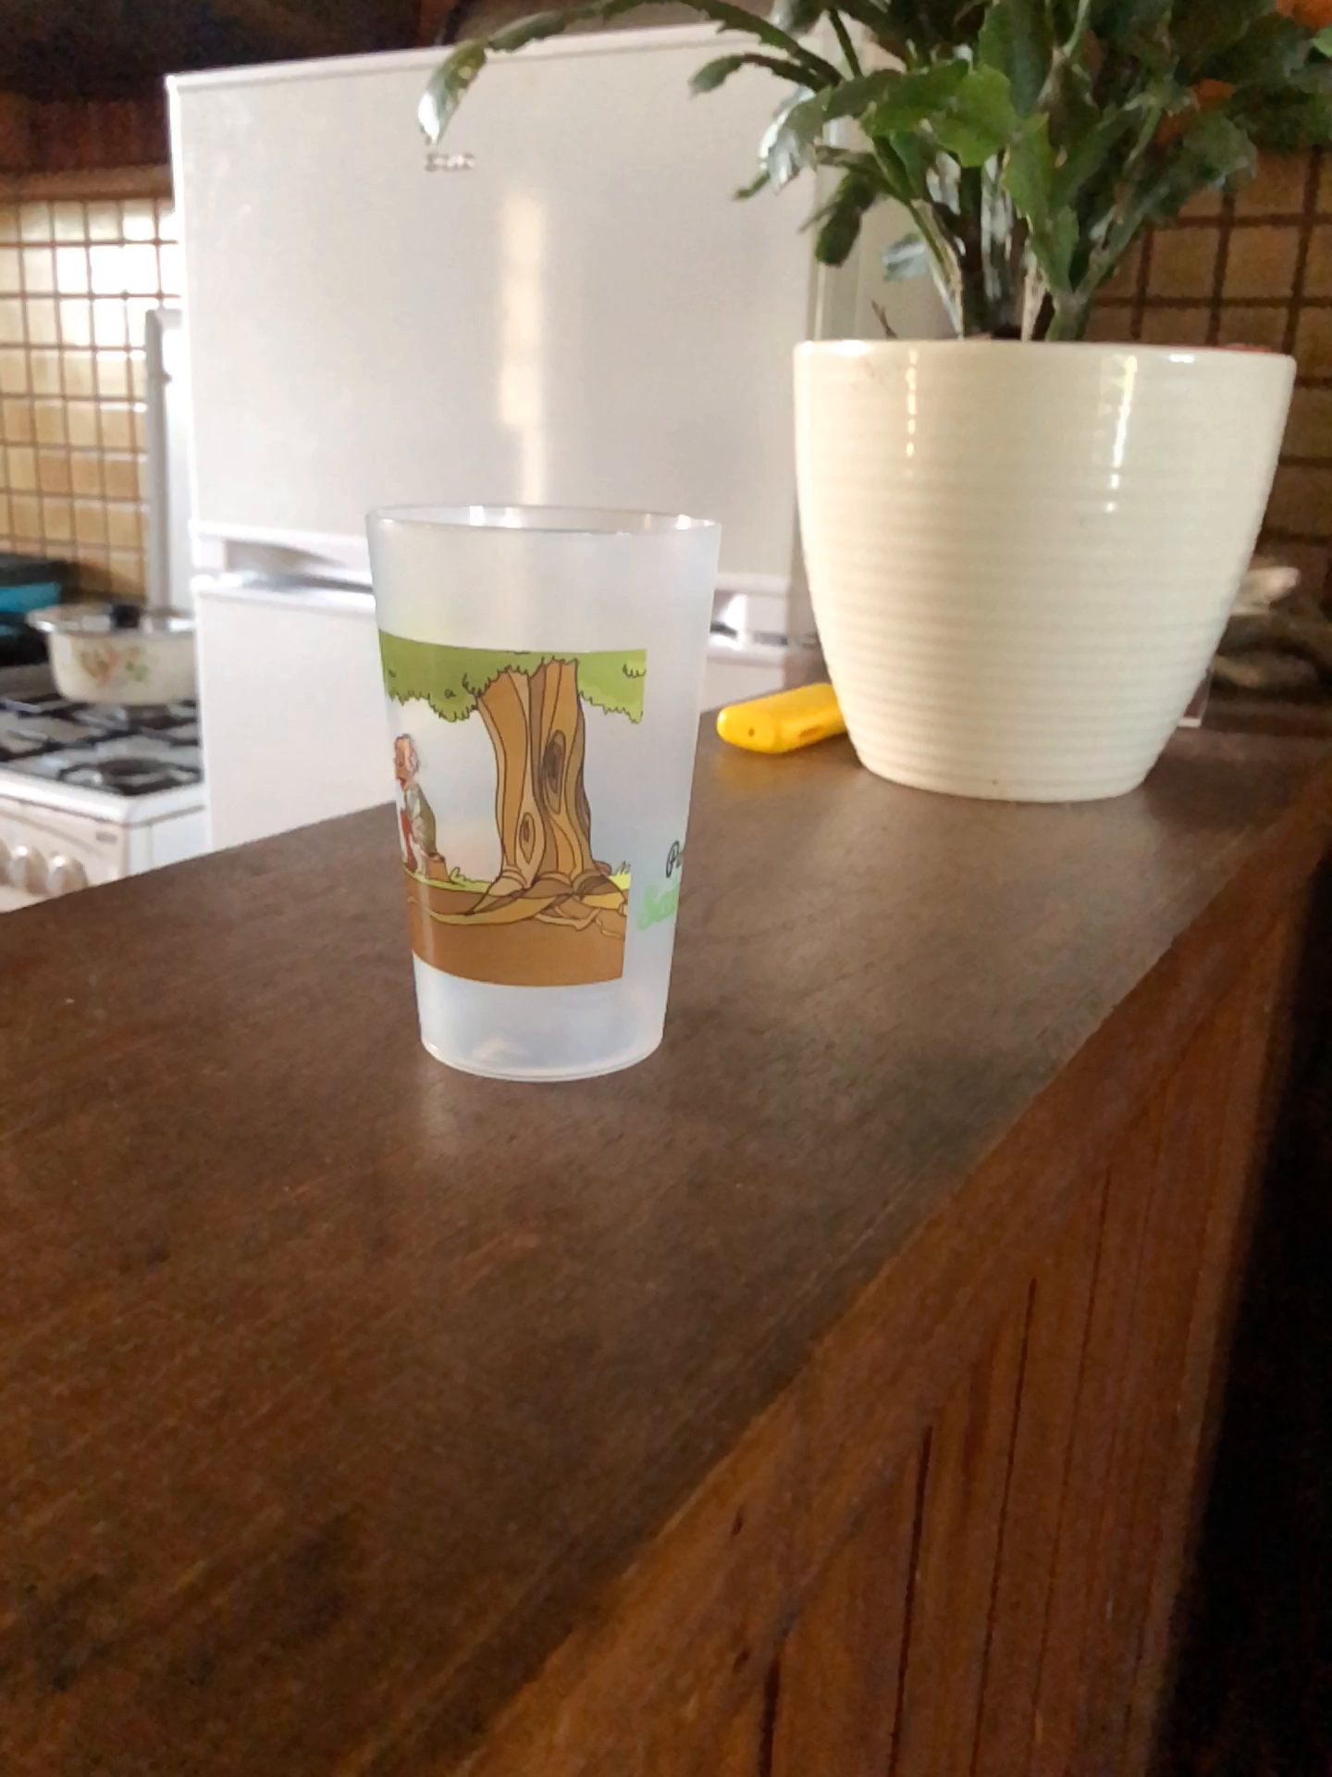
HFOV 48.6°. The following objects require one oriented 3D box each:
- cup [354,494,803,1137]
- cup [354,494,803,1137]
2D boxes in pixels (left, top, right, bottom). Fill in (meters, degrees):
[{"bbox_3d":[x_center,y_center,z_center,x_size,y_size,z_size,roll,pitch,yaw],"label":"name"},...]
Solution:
[{"bbox_3d":[-0.025,-0.021,0.323,0.080,0.119,0.080,2,17,-1],"label":"cup"},{"bbox_3d":[-0.025,-0.021,0.323,0.080,0.119,0.080,2,17,-1],"label":"cup"}]
